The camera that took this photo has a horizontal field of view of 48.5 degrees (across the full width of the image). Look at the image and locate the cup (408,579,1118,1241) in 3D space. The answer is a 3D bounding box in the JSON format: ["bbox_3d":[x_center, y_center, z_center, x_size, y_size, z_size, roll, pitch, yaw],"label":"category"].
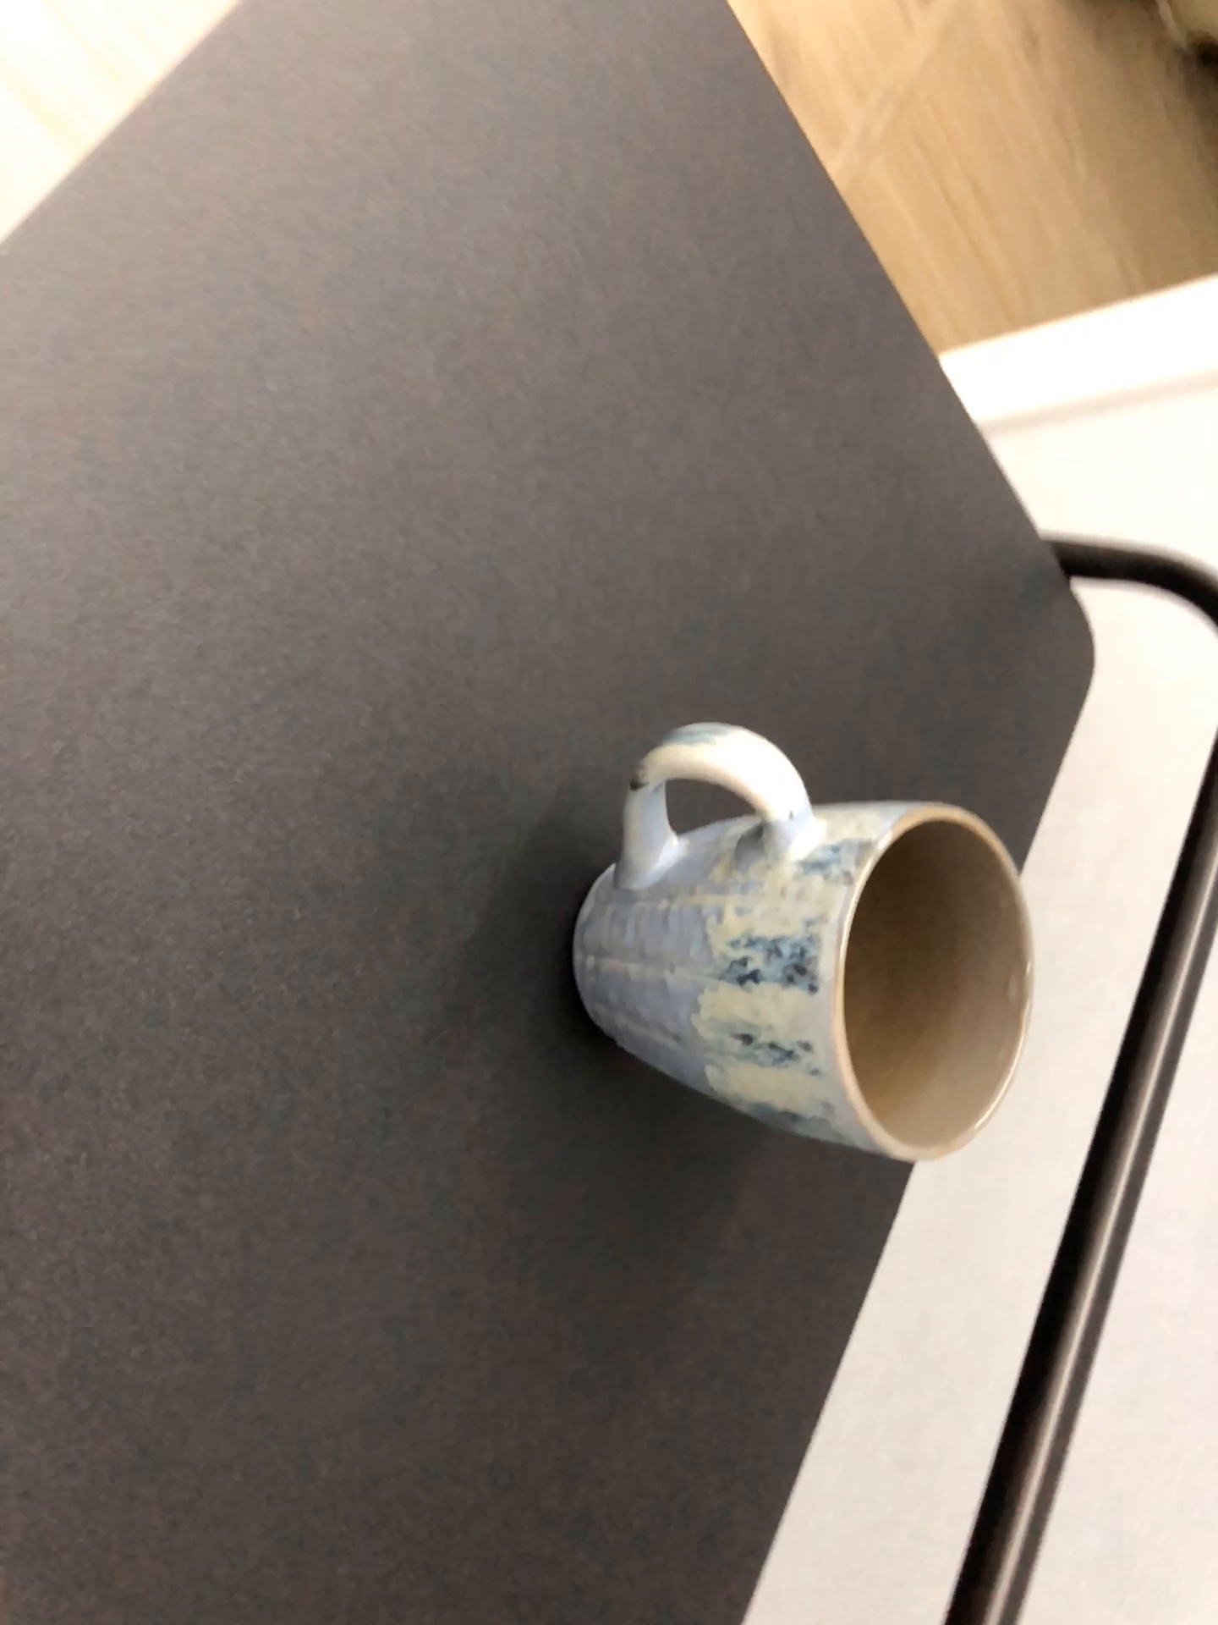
[{"bbox_3d":[0.043,0.024,0.336,0.120,0.107,0.089,54,55,-31],"label":"cup"}]
